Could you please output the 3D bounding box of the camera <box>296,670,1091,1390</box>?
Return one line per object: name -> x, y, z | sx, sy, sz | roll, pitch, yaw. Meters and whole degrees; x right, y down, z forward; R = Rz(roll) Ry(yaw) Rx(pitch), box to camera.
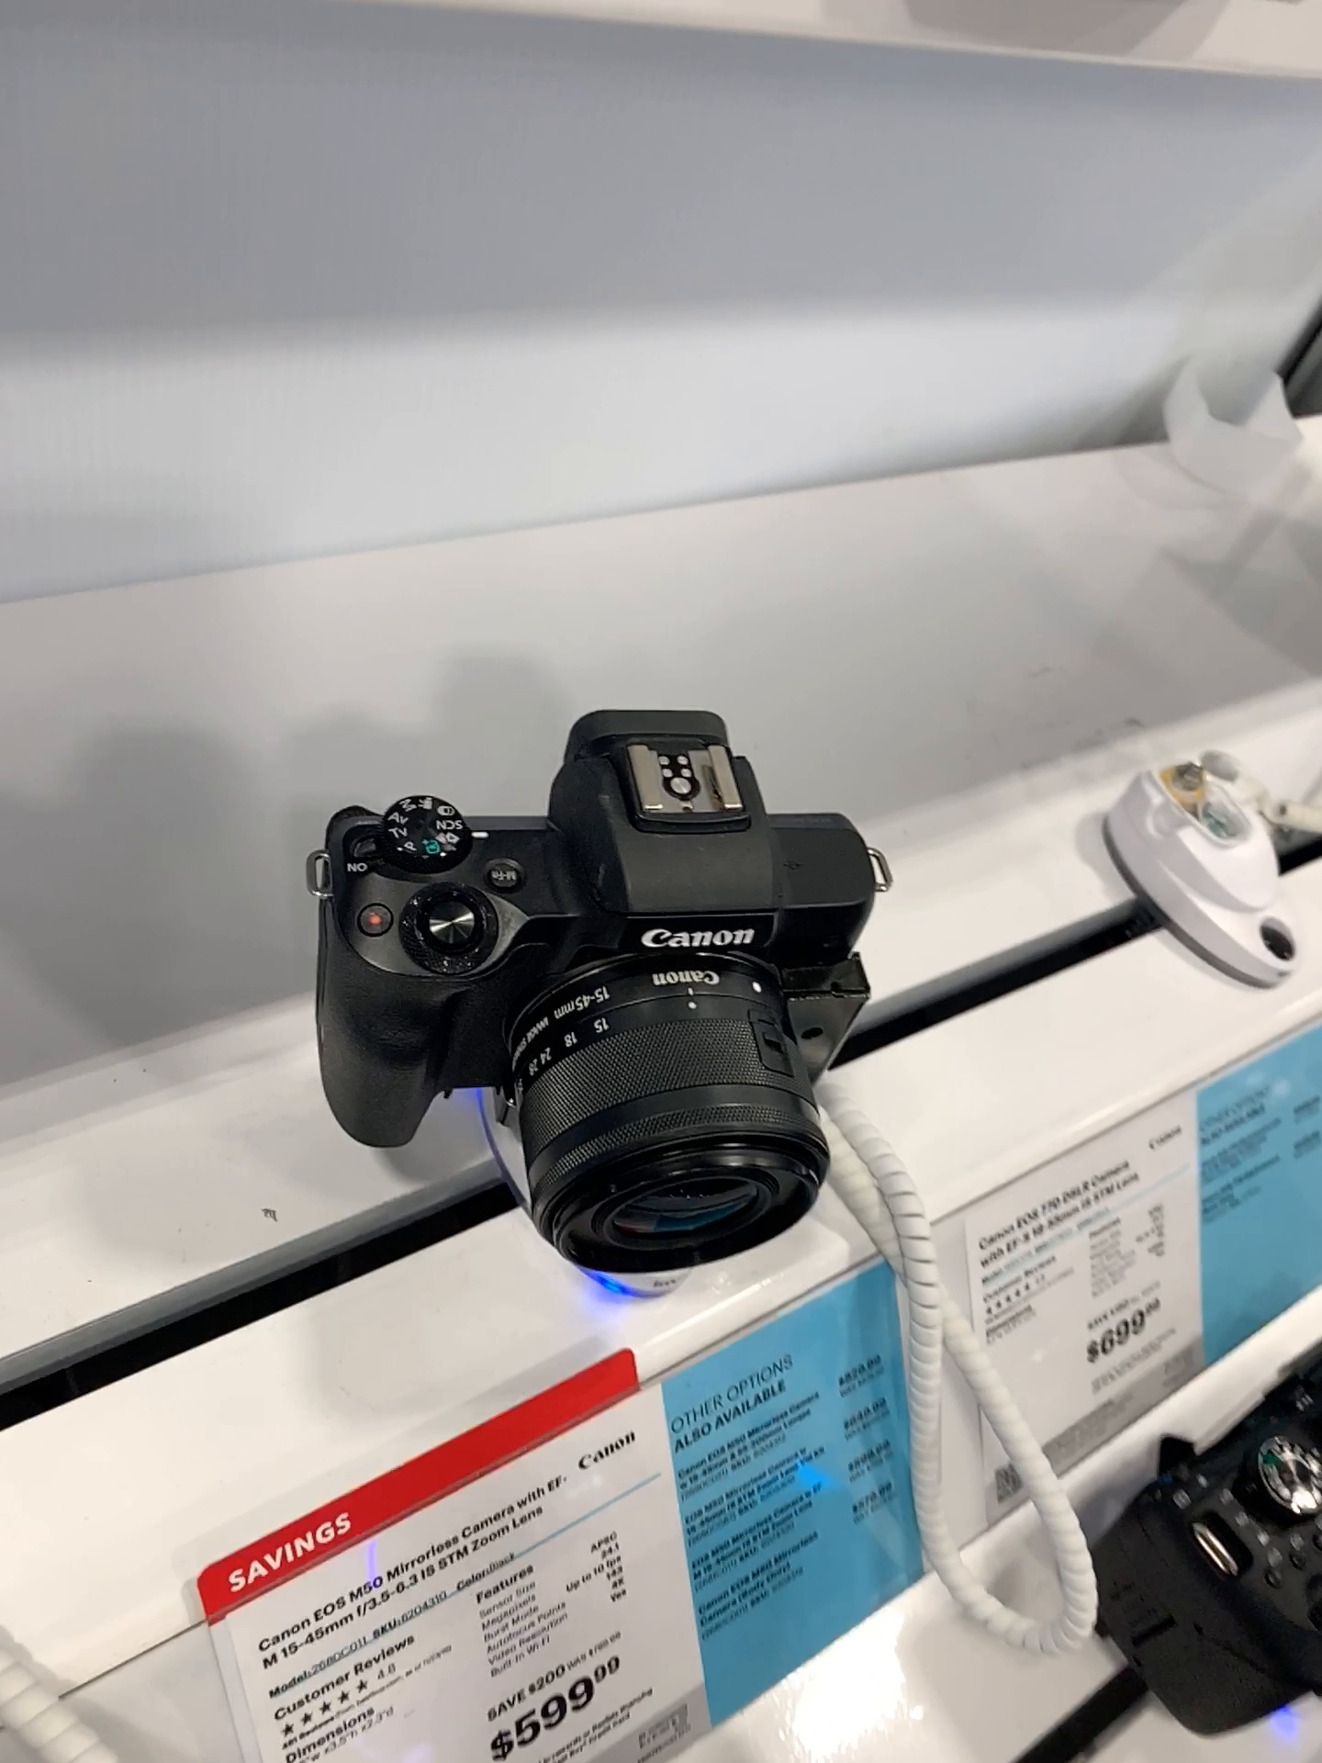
camera -> -0.005, 0.024, 0.282 | 0.121, 0.080, 0.110 | -4, 53, -21
